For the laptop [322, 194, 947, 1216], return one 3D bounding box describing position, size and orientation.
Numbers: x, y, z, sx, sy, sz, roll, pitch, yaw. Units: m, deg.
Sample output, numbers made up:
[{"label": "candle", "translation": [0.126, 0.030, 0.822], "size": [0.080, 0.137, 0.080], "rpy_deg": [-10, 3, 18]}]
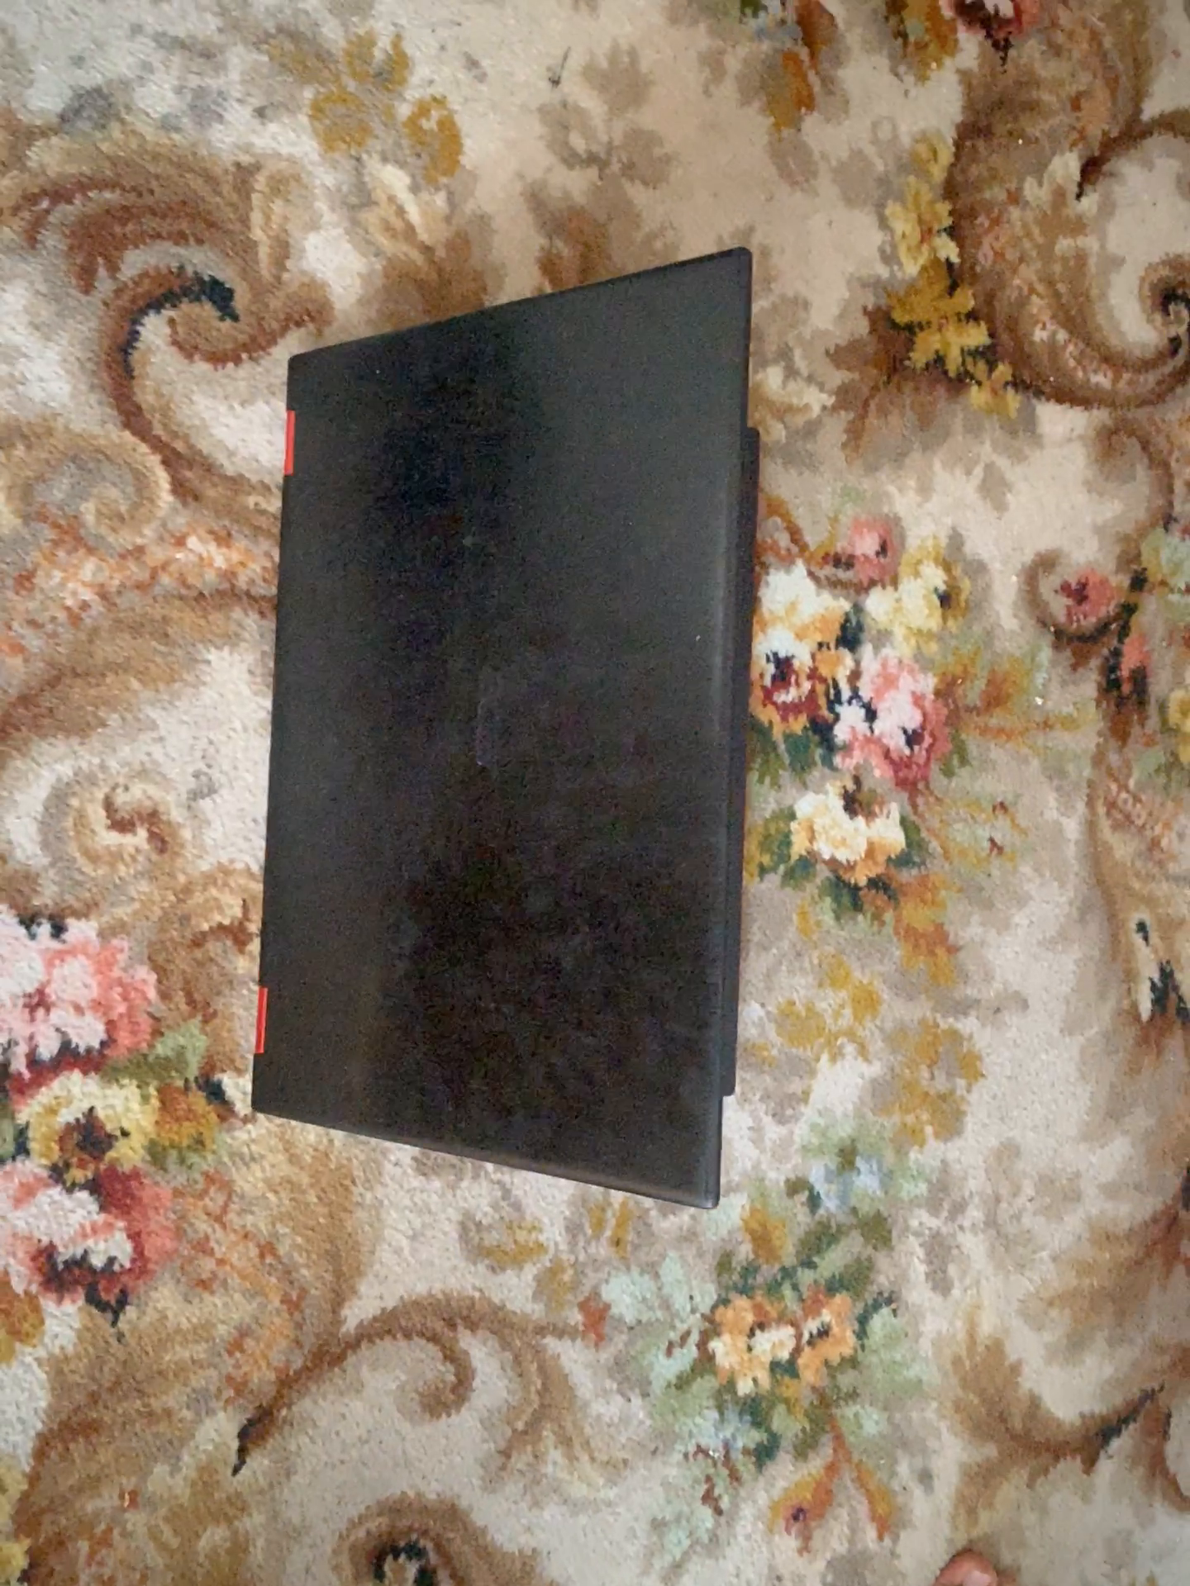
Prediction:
[{"label": "laptop", "translation": [0.008, -0.025, 0.545], "size": [0.224, 0.172, 0.356], "rpy_deg": [3, 88, -20]}]
